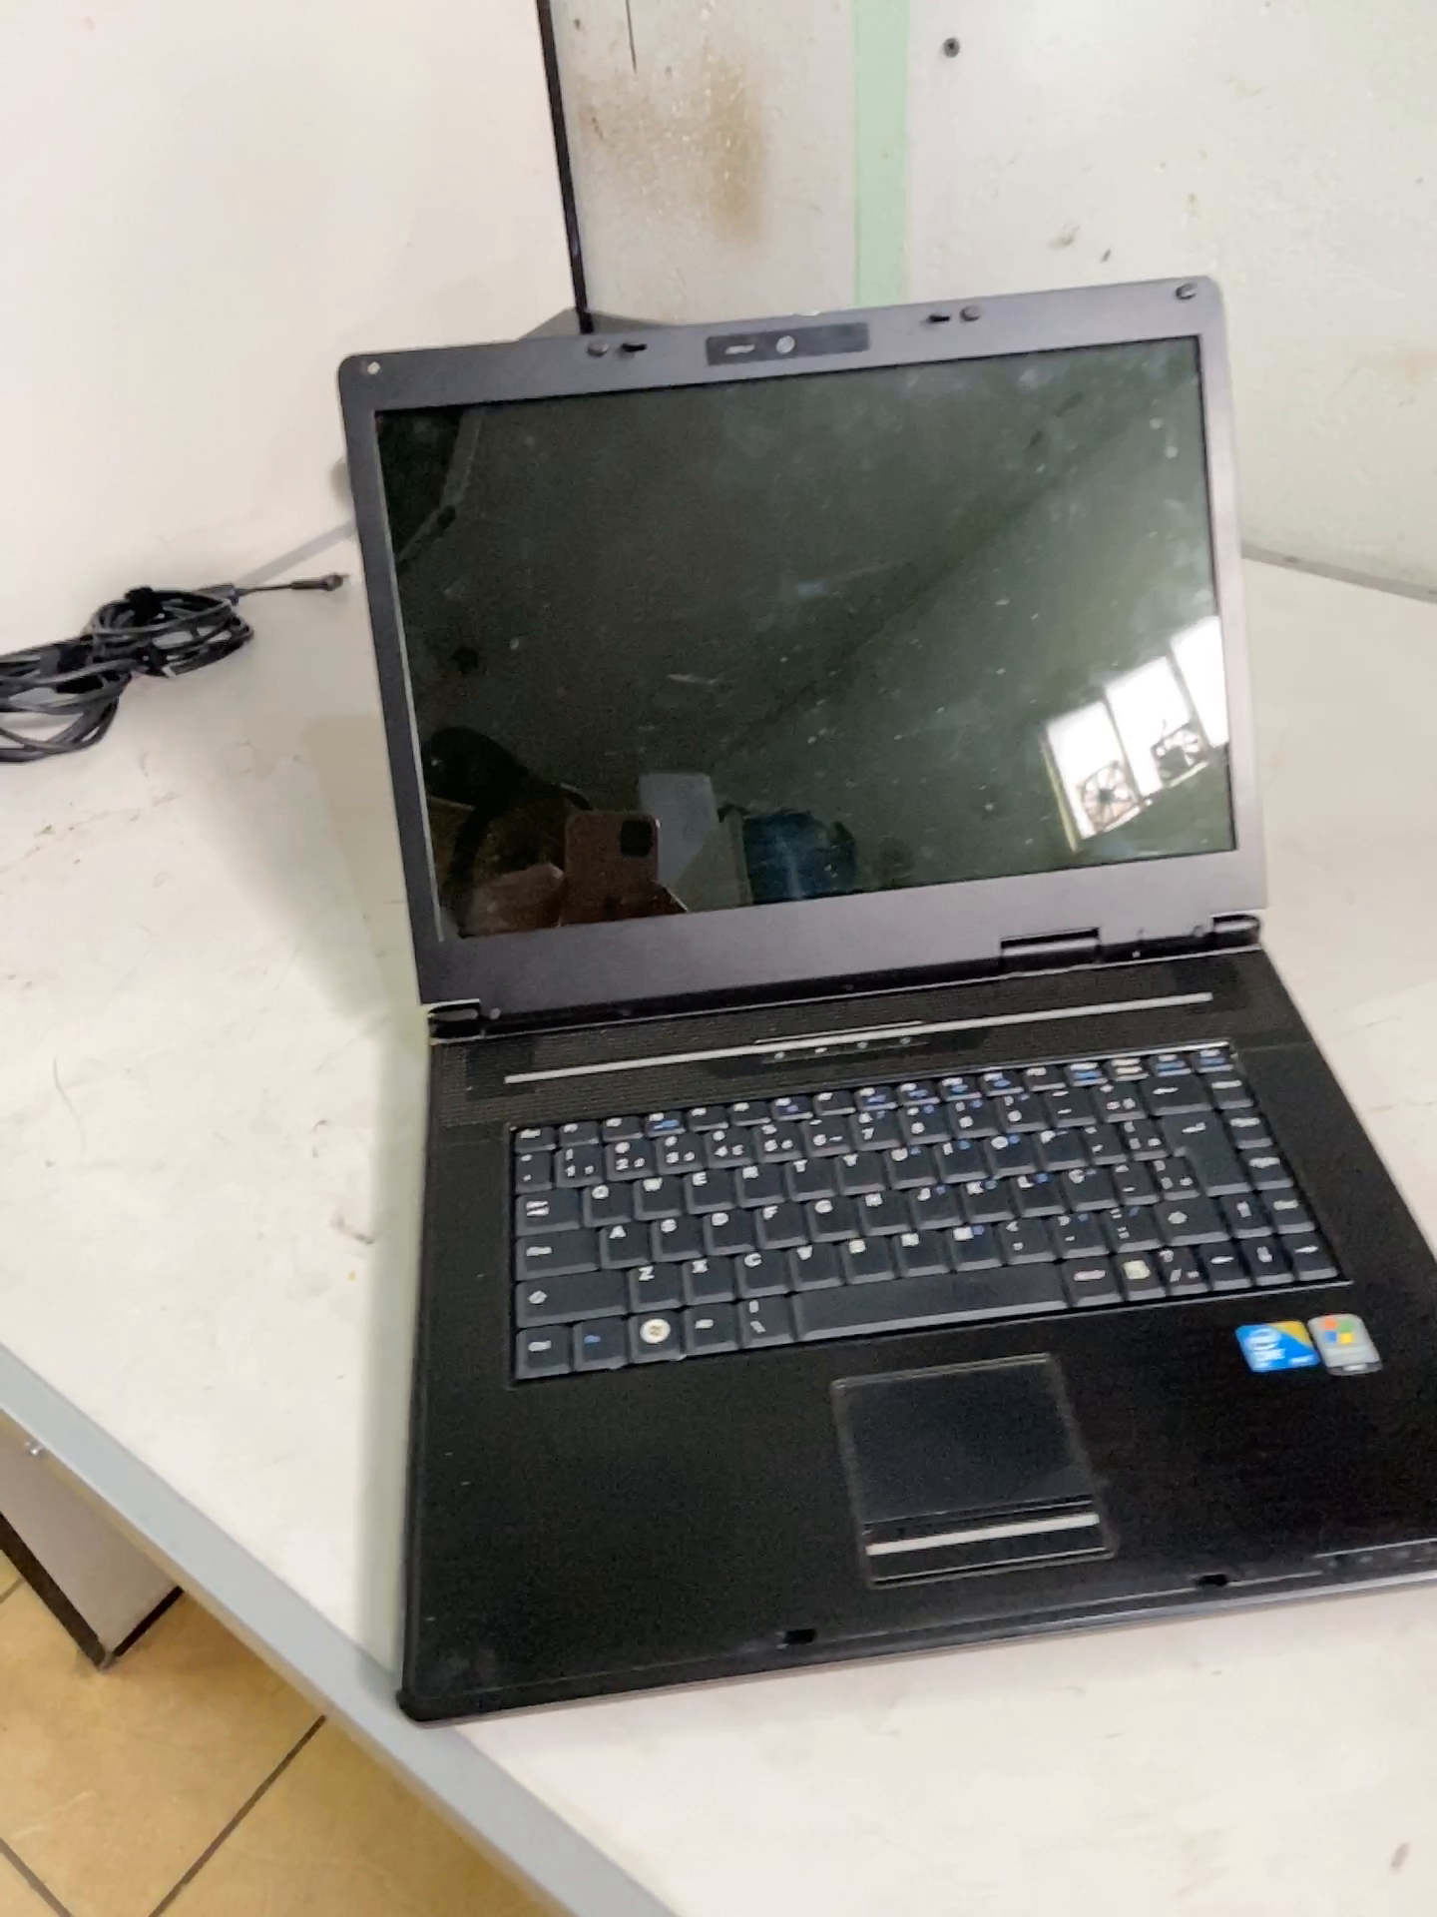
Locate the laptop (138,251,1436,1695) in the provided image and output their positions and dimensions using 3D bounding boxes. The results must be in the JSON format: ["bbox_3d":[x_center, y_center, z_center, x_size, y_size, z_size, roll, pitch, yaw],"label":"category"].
[{"bbox_3d":[0.047,-0.036,0.517,0.351,0.224,0.432,-7,44,-2],"label":"laptop"}]
